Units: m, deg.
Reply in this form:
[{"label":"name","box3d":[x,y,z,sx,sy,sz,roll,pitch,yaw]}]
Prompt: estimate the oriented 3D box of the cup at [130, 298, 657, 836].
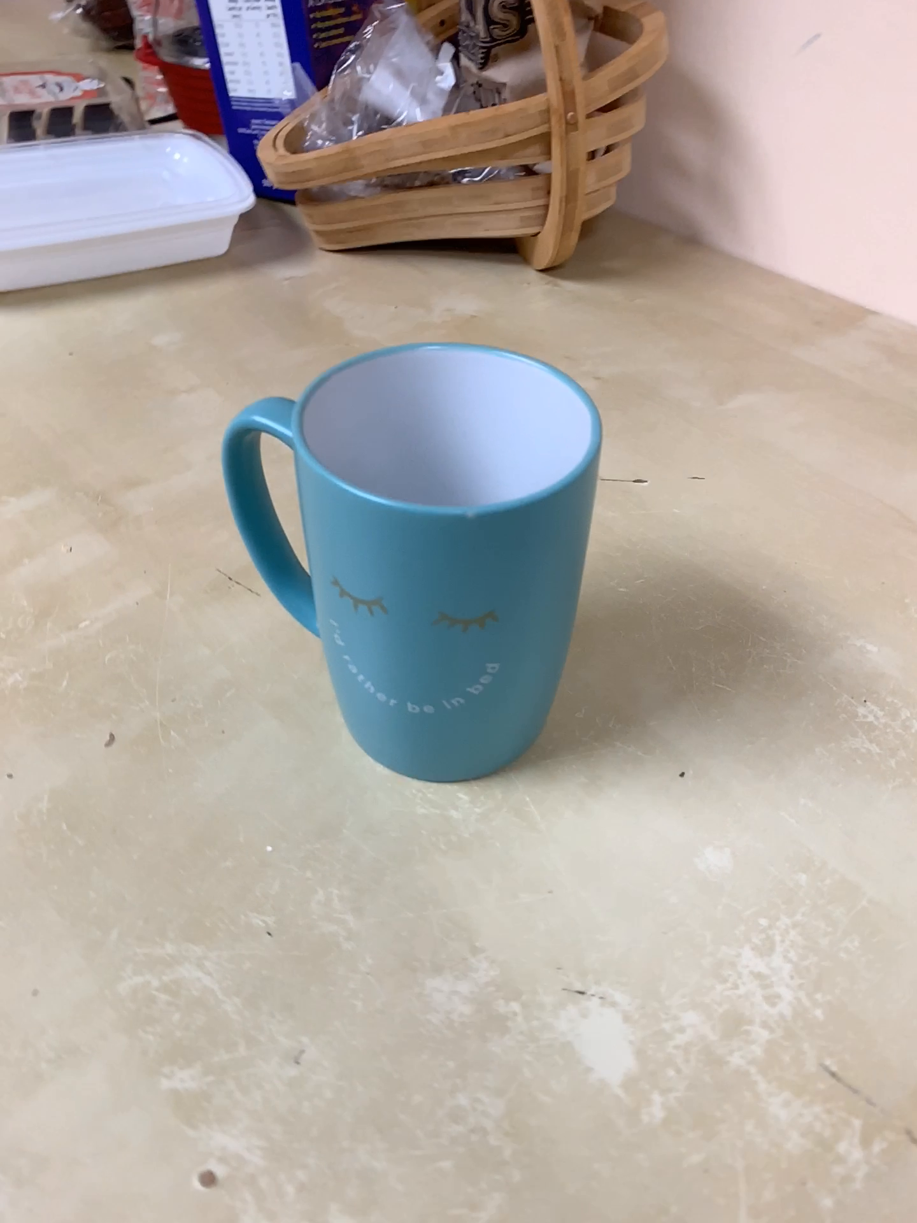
[{"label":"cup","box3d":[-0.017,-0.018,0.307,0.121,0.114,0.092,19,45,19]}]
